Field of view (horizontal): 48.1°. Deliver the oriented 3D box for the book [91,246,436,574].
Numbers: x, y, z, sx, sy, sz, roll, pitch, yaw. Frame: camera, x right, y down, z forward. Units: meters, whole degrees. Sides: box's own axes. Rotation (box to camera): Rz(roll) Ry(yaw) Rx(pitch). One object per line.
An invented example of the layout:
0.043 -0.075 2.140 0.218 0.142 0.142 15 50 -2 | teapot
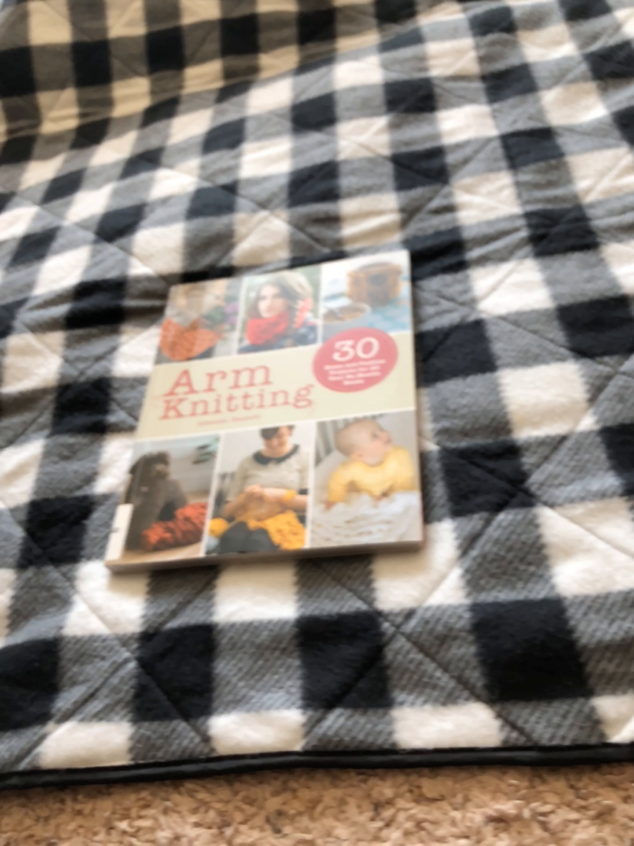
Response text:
-0.027 -0.019 0.471 0.196 0.020 0.238 -6 51 13 | book
